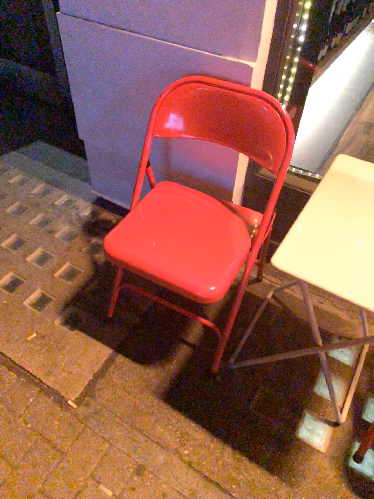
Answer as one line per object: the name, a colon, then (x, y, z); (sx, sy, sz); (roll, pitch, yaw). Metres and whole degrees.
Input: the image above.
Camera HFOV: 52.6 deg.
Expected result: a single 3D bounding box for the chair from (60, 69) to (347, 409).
chair: (0.058, -0.018, 1.139); (0.471, 0.742, 0.534); (24, 50, 19)
